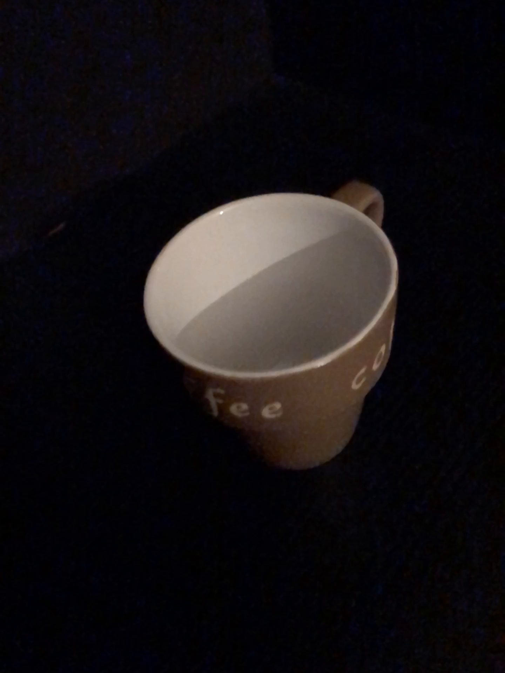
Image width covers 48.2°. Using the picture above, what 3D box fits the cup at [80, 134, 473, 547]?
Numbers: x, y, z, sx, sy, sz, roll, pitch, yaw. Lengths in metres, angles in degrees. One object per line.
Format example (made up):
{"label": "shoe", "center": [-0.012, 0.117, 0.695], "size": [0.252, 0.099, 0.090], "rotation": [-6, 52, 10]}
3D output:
{"label": "cup", "center": [0.015, -0.002, 0.213], "size": [0.080, 0.082, 0.108], "rotation": [27, 61, 27]}
